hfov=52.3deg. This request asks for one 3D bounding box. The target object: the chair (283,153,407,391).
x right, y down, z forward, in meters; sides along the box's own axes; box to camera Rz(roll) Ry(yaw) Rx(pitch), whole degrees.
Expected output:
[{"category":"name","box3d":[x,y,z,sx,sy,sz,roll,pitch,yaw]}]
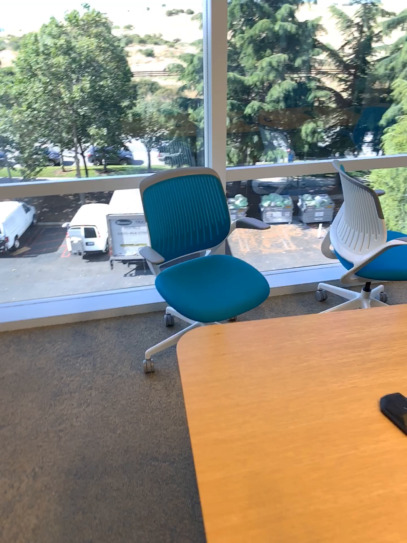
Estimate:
[{"category":"chair","box3d":[0.897,-0.022,2.238,0.640,1.014,0.654,-8,31,-12]}]

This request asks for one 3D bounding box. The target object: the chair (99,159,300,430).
[{"category":"chair","box3d":[-0.066,0.071,2.394,0.730,1.133,0.875,-13,32,-21]}]
